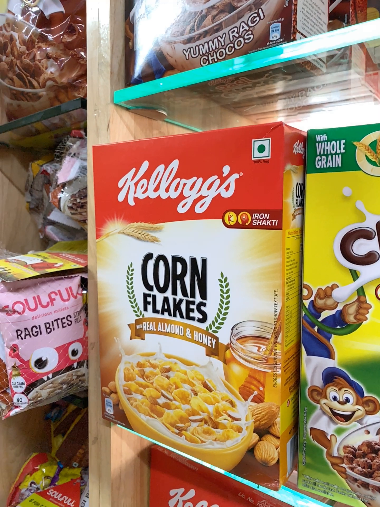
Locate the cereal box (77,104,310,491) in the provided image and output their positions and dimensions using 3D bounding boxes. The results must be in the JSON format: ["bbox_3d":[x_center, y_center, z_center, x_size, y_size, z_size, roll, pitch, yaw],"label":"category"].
[{"bbox_3d":[-0.002,0.023,0.318,0.170,0.239,0.070,4,8,36],"label":"cereal box"}]
